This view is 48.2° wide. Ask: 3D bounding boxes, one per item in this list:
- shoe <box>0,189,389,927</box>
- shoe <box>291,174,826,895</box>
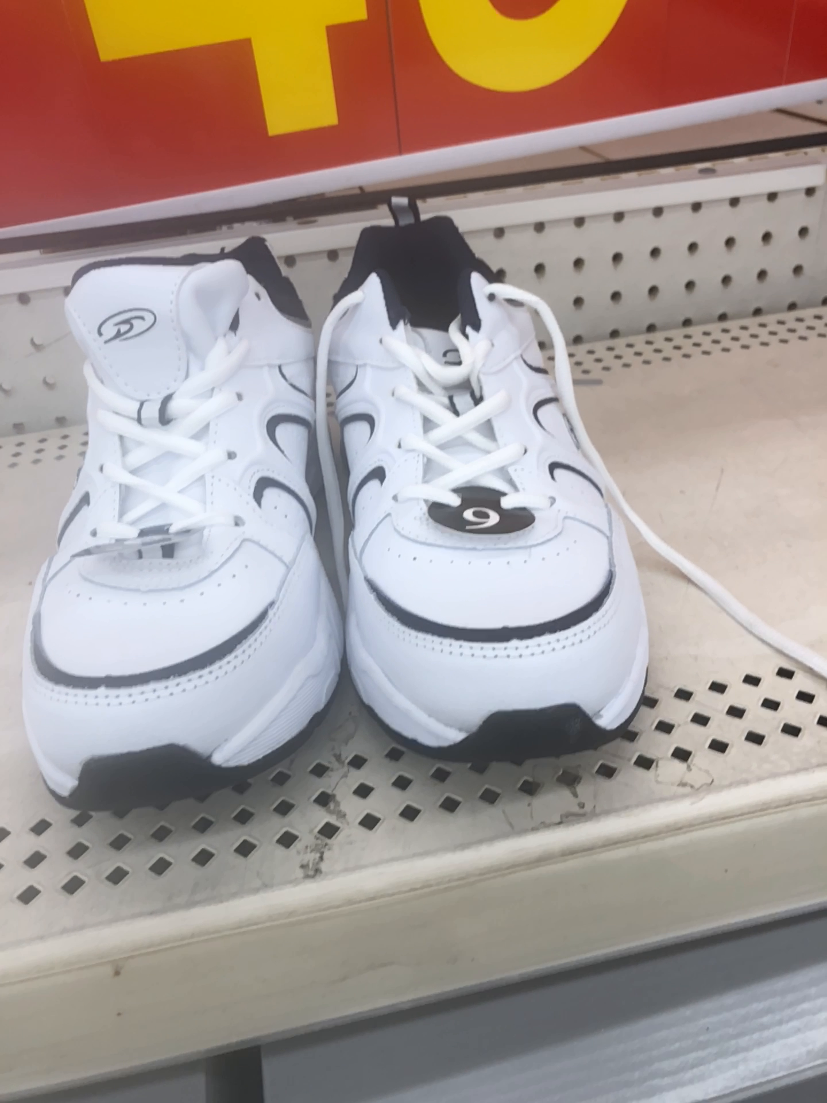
[{"bbox_3d":[-0.074,-0.028,0.321,0.110,0.119,0.261,-6,34,0],"label":"shoe"},{"bbox_3d":[0.023,-0.036,0.327,0.110,0.119,0.261,-8,34,-4],"label":"shoe"}]
